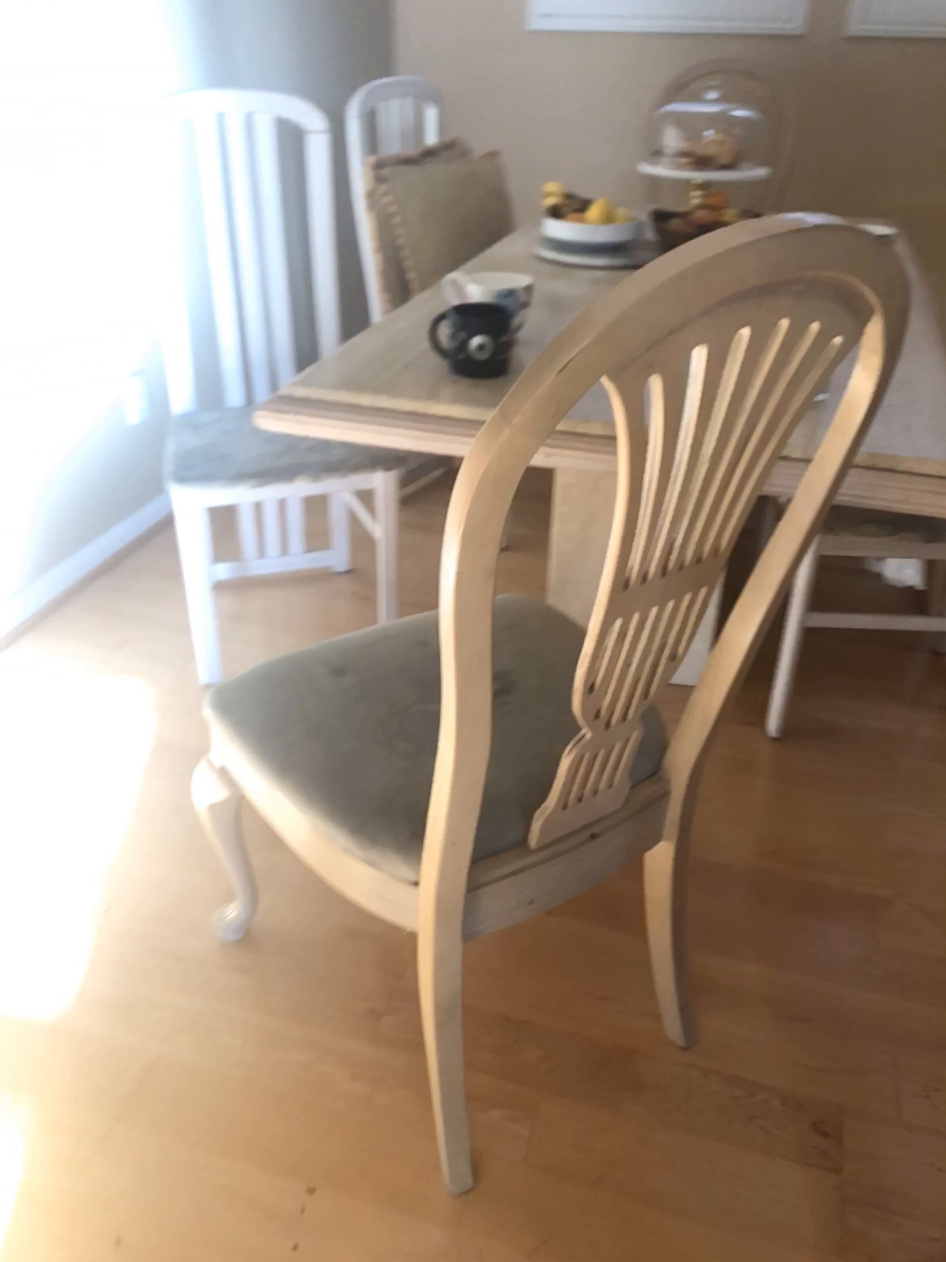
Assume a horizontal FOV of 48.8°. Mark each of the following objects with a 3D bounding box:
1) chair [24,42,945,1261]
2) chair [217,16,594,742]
[{"bbox_3d":[-0.024,0.063,1.241,0.593,1.289,0.632,-18,37,-28],"label":"chair"},{"bbox_3d":[-0.175,-0.578,2.433,0.631,1.449,0.674,-7,29,-13],"label":"chair"}]
